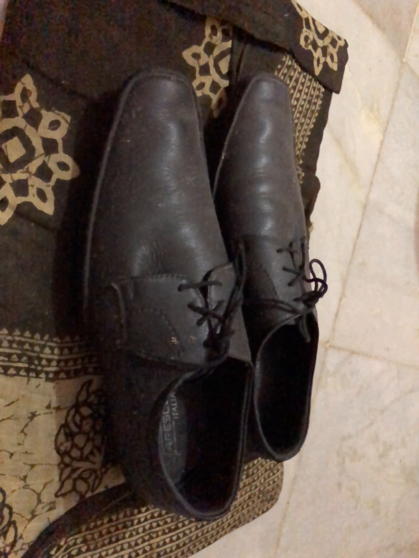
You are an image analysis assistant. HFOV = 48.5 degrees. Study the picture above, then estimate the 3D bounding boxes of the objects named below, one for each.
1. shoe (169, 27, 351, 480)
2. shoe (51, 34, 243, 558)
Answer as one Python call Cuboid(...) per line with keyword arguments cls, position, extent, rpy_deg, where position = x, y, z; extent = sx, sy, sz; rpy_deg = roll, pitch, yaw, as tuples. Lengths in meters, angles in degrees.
Cuboid(cls="shoe", position=(0.043, -0.015, 0.409), extent=(0.110, 0.070, 0.340), rpy_deg=(0, 98, -40))
Cuboid(cls="shoe", position=(-0.043, 0.021, 0.348), extent=(0.110, 0.070, 0.340), rpy_deg=(-8, 103, -39))
